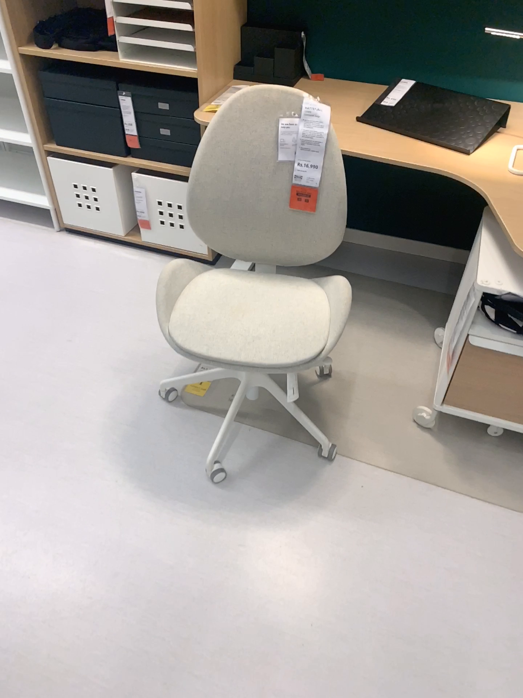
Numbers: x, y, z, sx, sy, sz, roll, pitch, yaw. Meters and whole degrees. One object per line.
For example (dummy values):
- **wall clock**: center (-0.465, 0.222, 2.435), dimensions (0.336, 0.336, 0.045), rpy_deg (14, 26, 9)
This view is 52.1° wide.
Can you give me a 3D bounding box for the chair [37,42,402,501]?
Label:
- **chair**: center (-0.038, -0.183, 1.470), dimensions (0.630, 0.995, 0.643), rpy_deg (7, 43, 6)
